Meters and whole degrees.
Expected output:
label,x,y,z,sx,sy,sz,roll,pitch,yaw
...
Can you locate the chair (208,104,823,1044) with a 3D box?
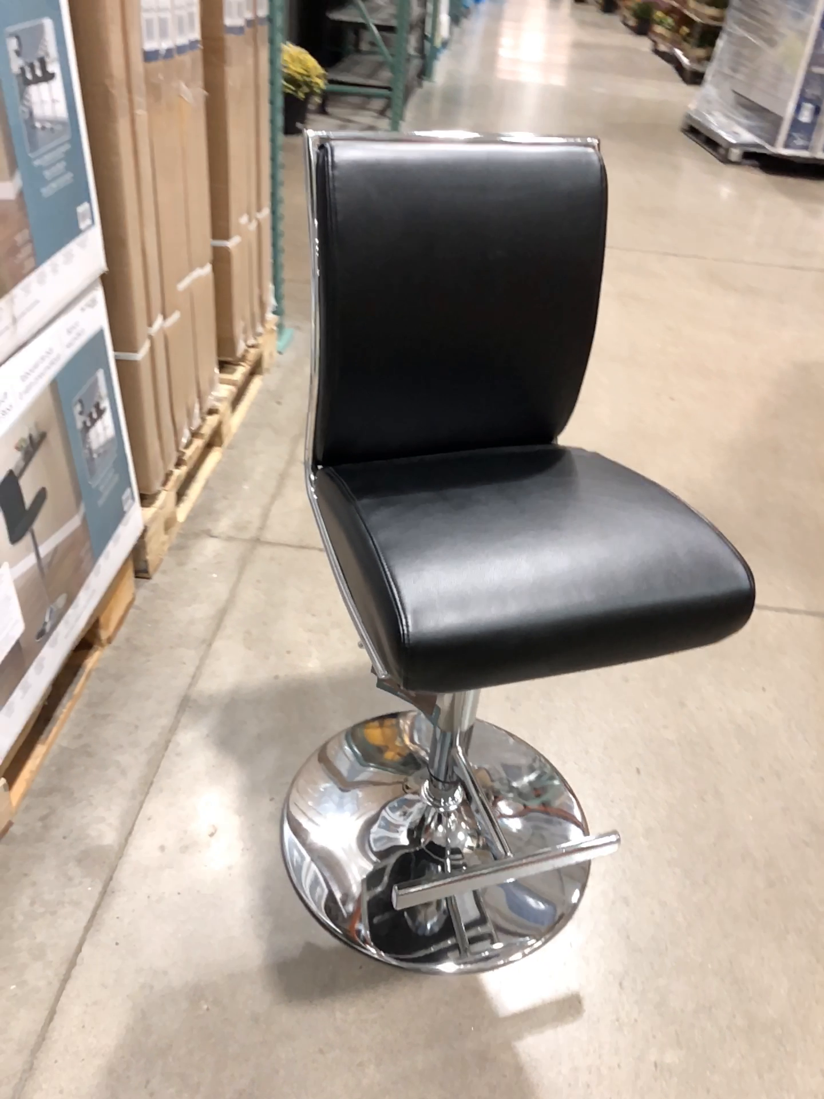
label,x,y,z,sx,sy,sz,roll,pitch,yaw
chair,0.083,0.021,1.136,0.530,0.946,0.542,-9,37,-22
